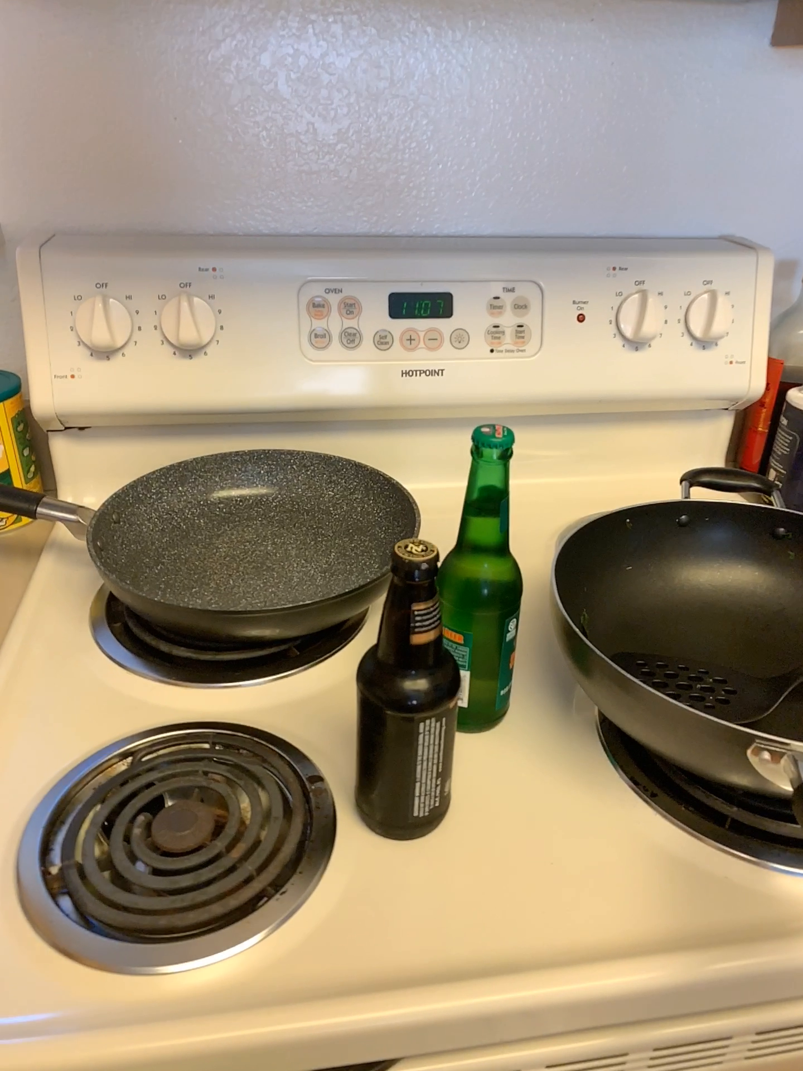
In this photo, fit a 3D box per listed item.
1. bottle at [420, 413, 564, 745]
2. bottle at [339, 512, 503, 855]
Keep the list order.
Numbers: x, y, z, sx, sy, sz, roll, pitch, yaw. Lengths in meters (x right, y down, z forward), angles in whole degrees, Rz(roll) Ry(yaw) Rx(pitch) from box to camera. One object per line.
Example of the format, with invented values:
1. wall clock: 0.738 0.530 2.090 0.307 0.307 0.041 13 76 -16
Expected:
1. bottle: 0.057 0.032 0.549 0.060 0.209 0.060 1 29 -1
2. bottle: 0.007 0.090 0.492 0.070 0.189 0.070 1 29 -1
